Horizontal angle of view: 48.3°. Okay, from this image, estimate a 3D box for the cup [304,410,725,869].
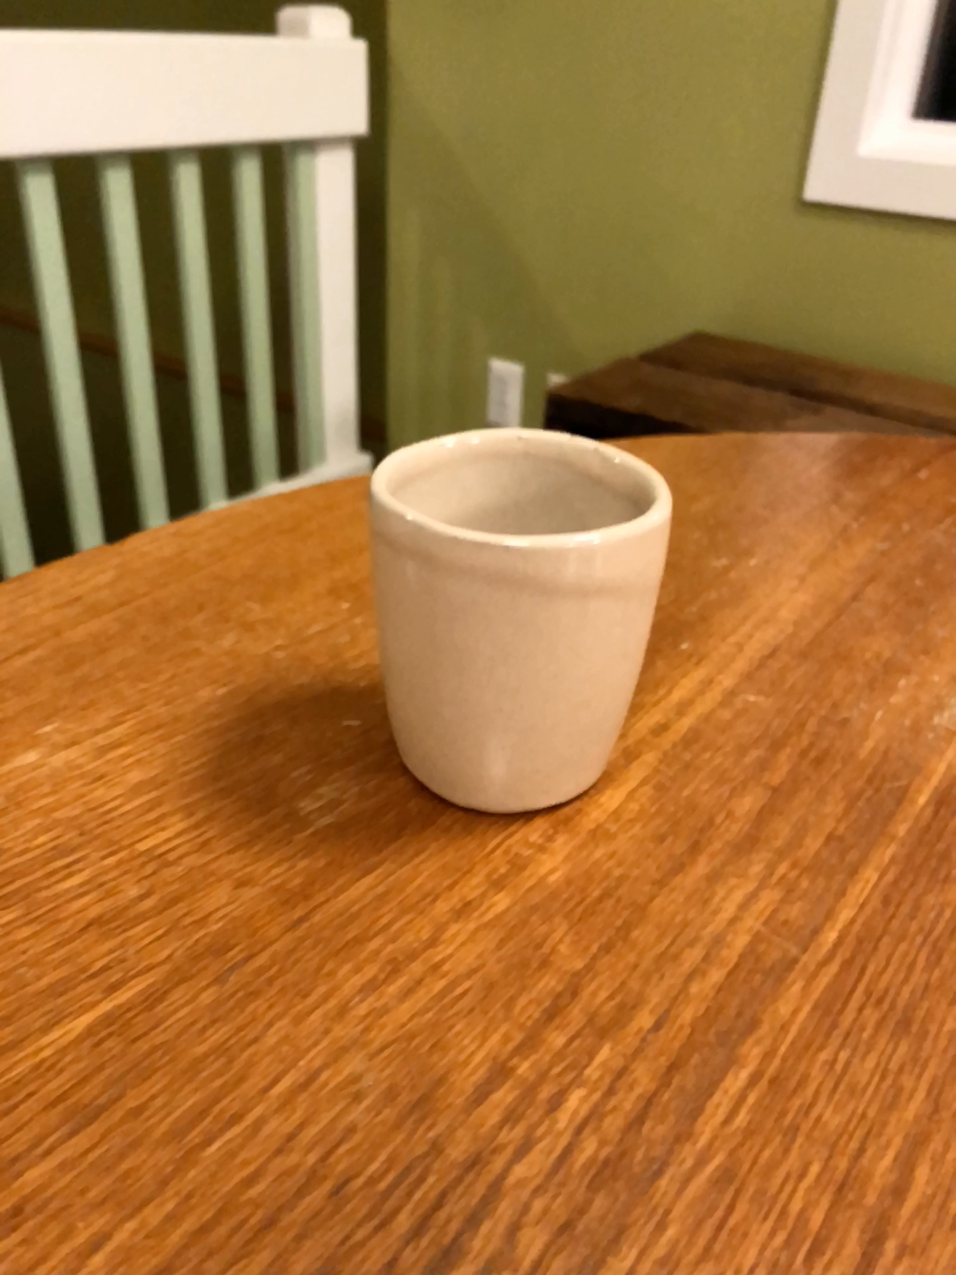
[{"bbox_3d":[0.010,-0.006,0.310,0.084,0.086,0.083,2,29,-1],"label":"cup"}]
